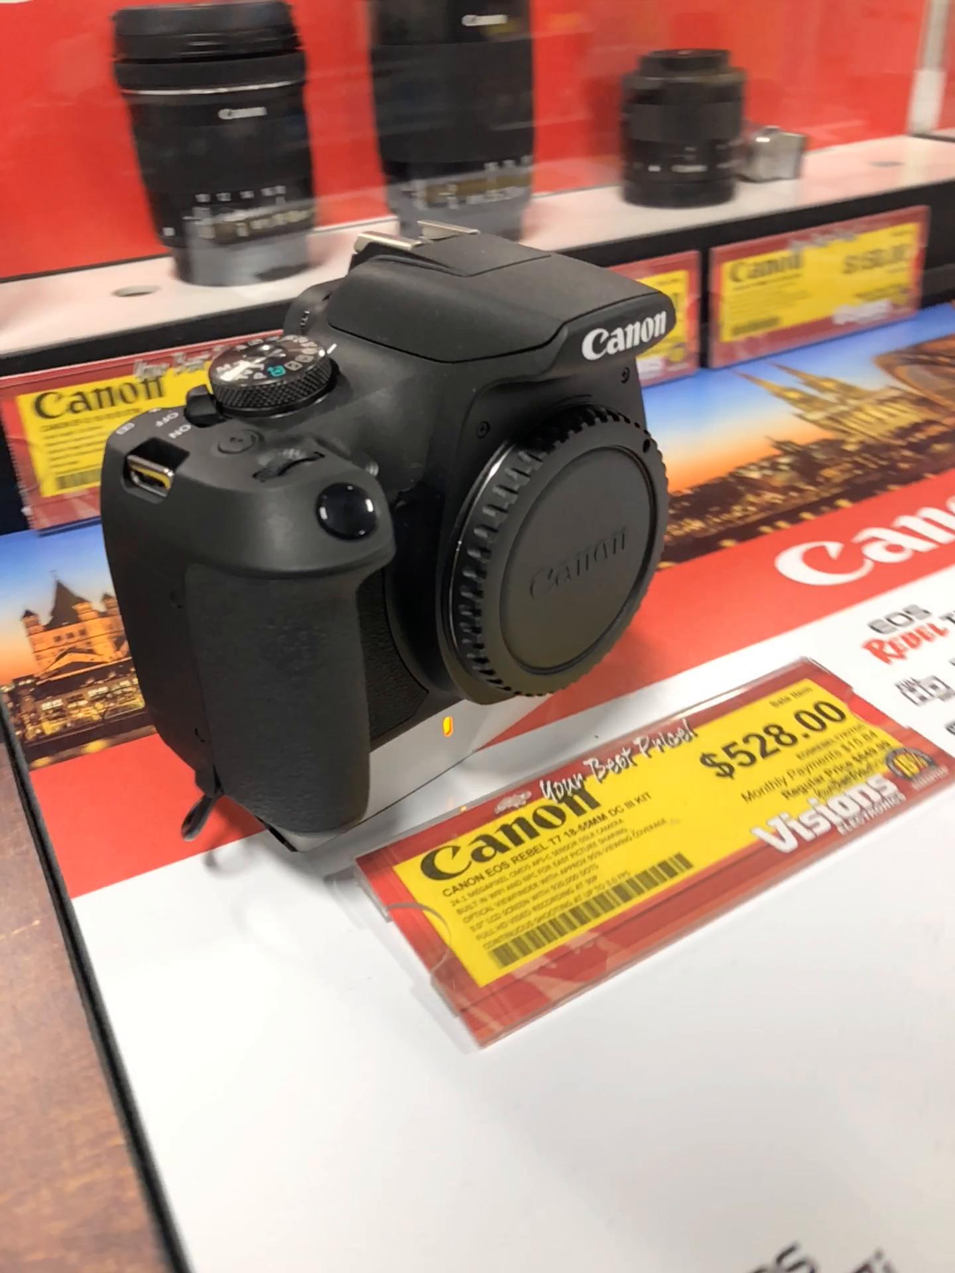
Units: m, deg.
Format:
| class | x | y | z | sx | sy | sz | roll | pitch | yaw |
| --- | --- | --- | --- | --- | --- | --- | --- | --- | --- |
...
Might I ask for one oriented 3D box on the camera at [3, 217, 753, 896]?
| class | x | y | z | sx | sy | sz | roll | pitch | yaw |
| --- | --- | --- | --- | --- | --- | --- | --- | --- | --- |
| camera | -0.013 | -0.031 | 0.235 | 0.080 | 0.089 | 0.130 | 25 | 41 | 37 |
